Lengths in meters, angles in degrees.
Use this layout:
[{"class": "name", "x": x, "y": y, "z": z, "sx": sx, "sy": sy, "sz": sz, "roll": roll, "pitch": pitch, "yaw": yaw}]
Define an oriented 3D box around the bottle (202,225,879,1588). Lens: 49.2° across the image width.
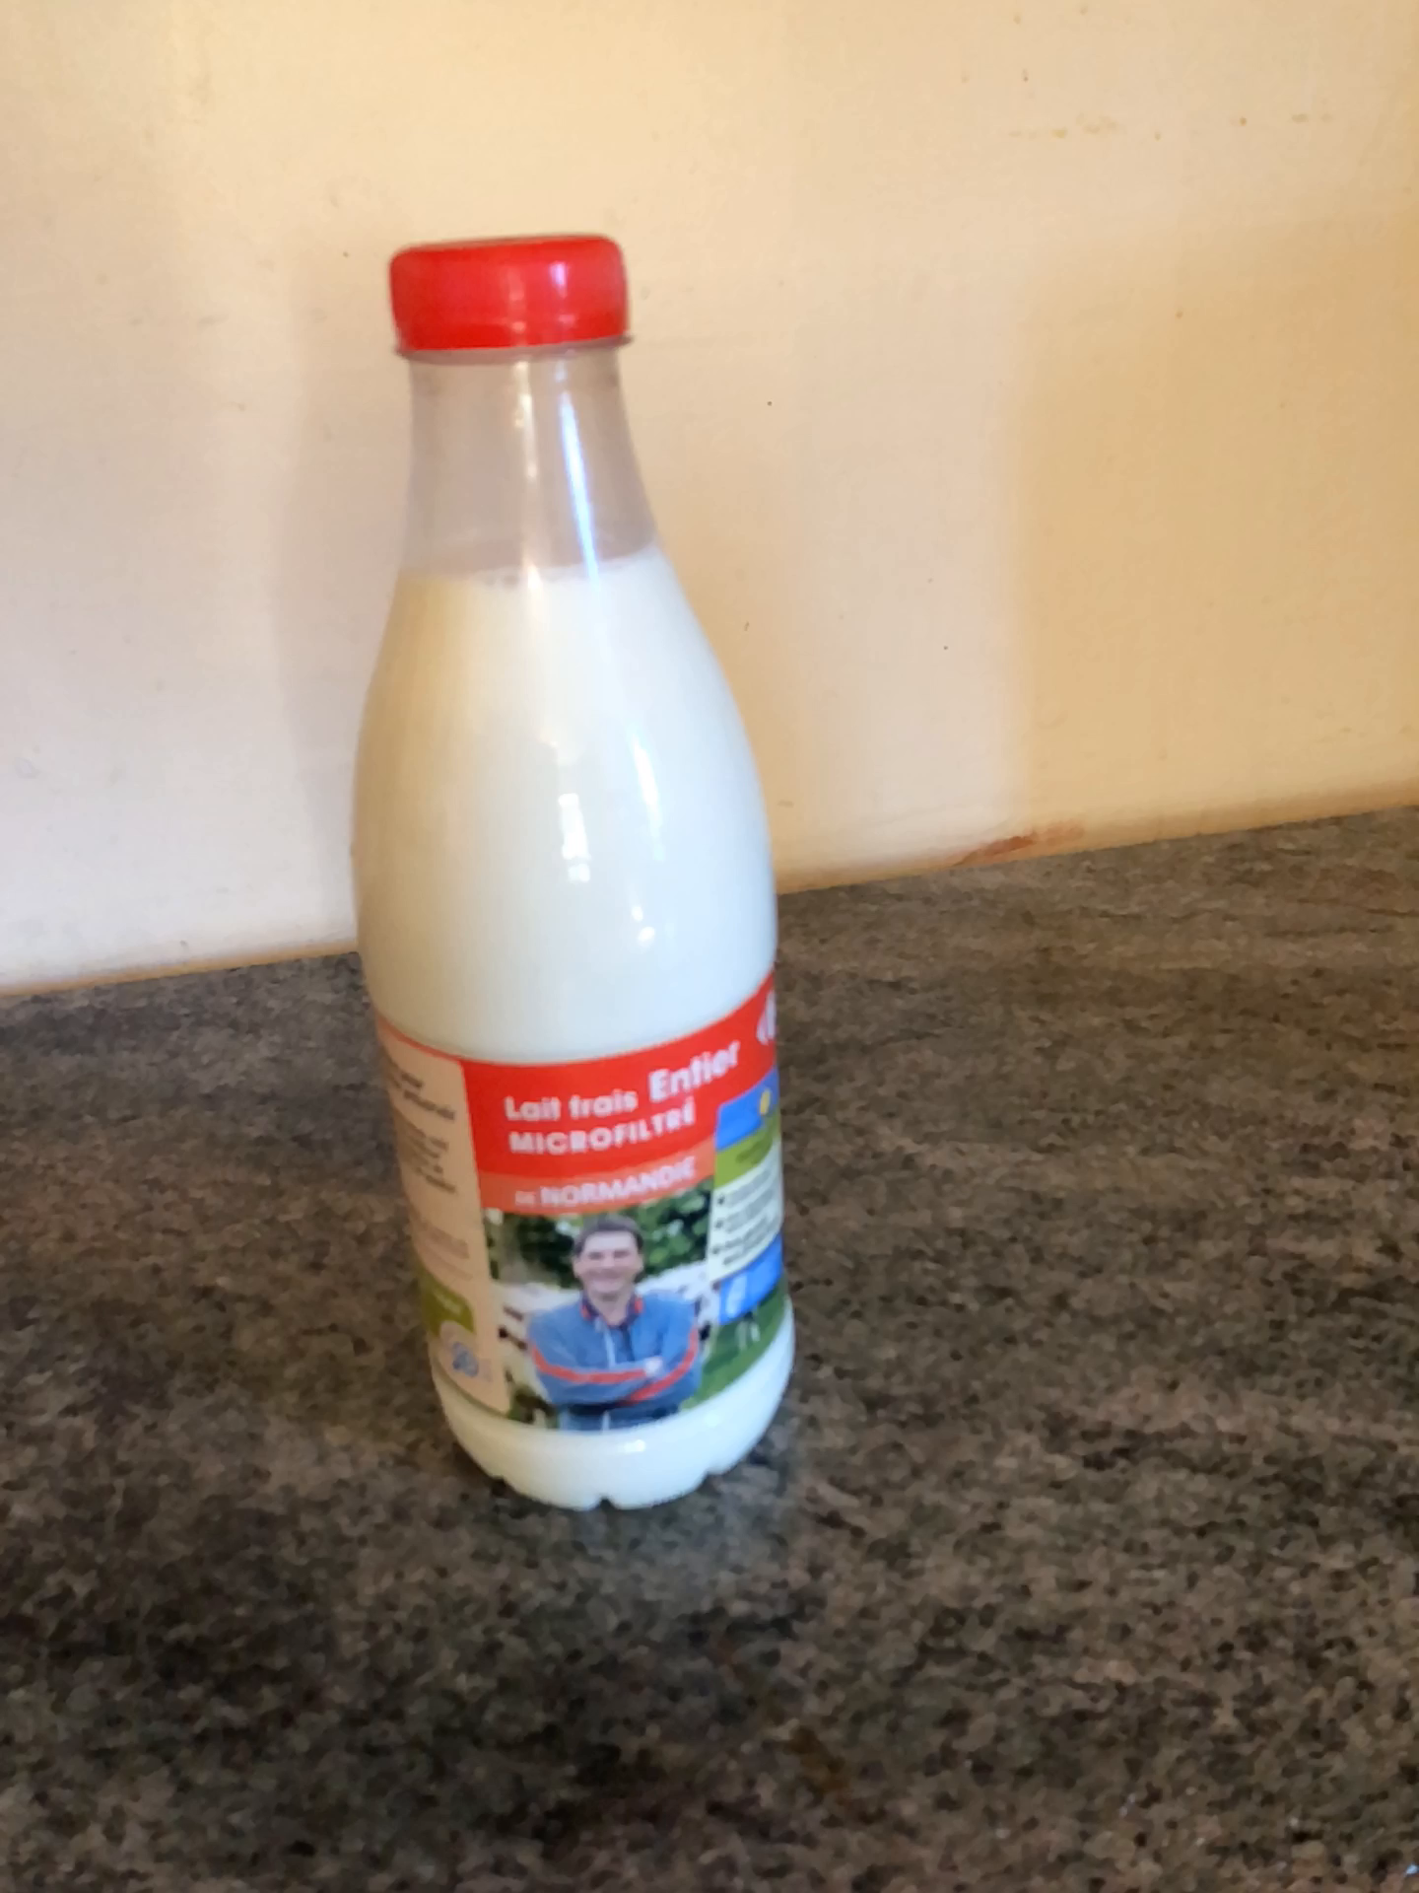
[{"class": "bottle", "x": -0.026, "y": -0.006, "z": 0.314, "sx": 0.090, "sy": 0.249, "sz": 0.080, "roll": -15, "pitch": 28, "yaw": -22}]
